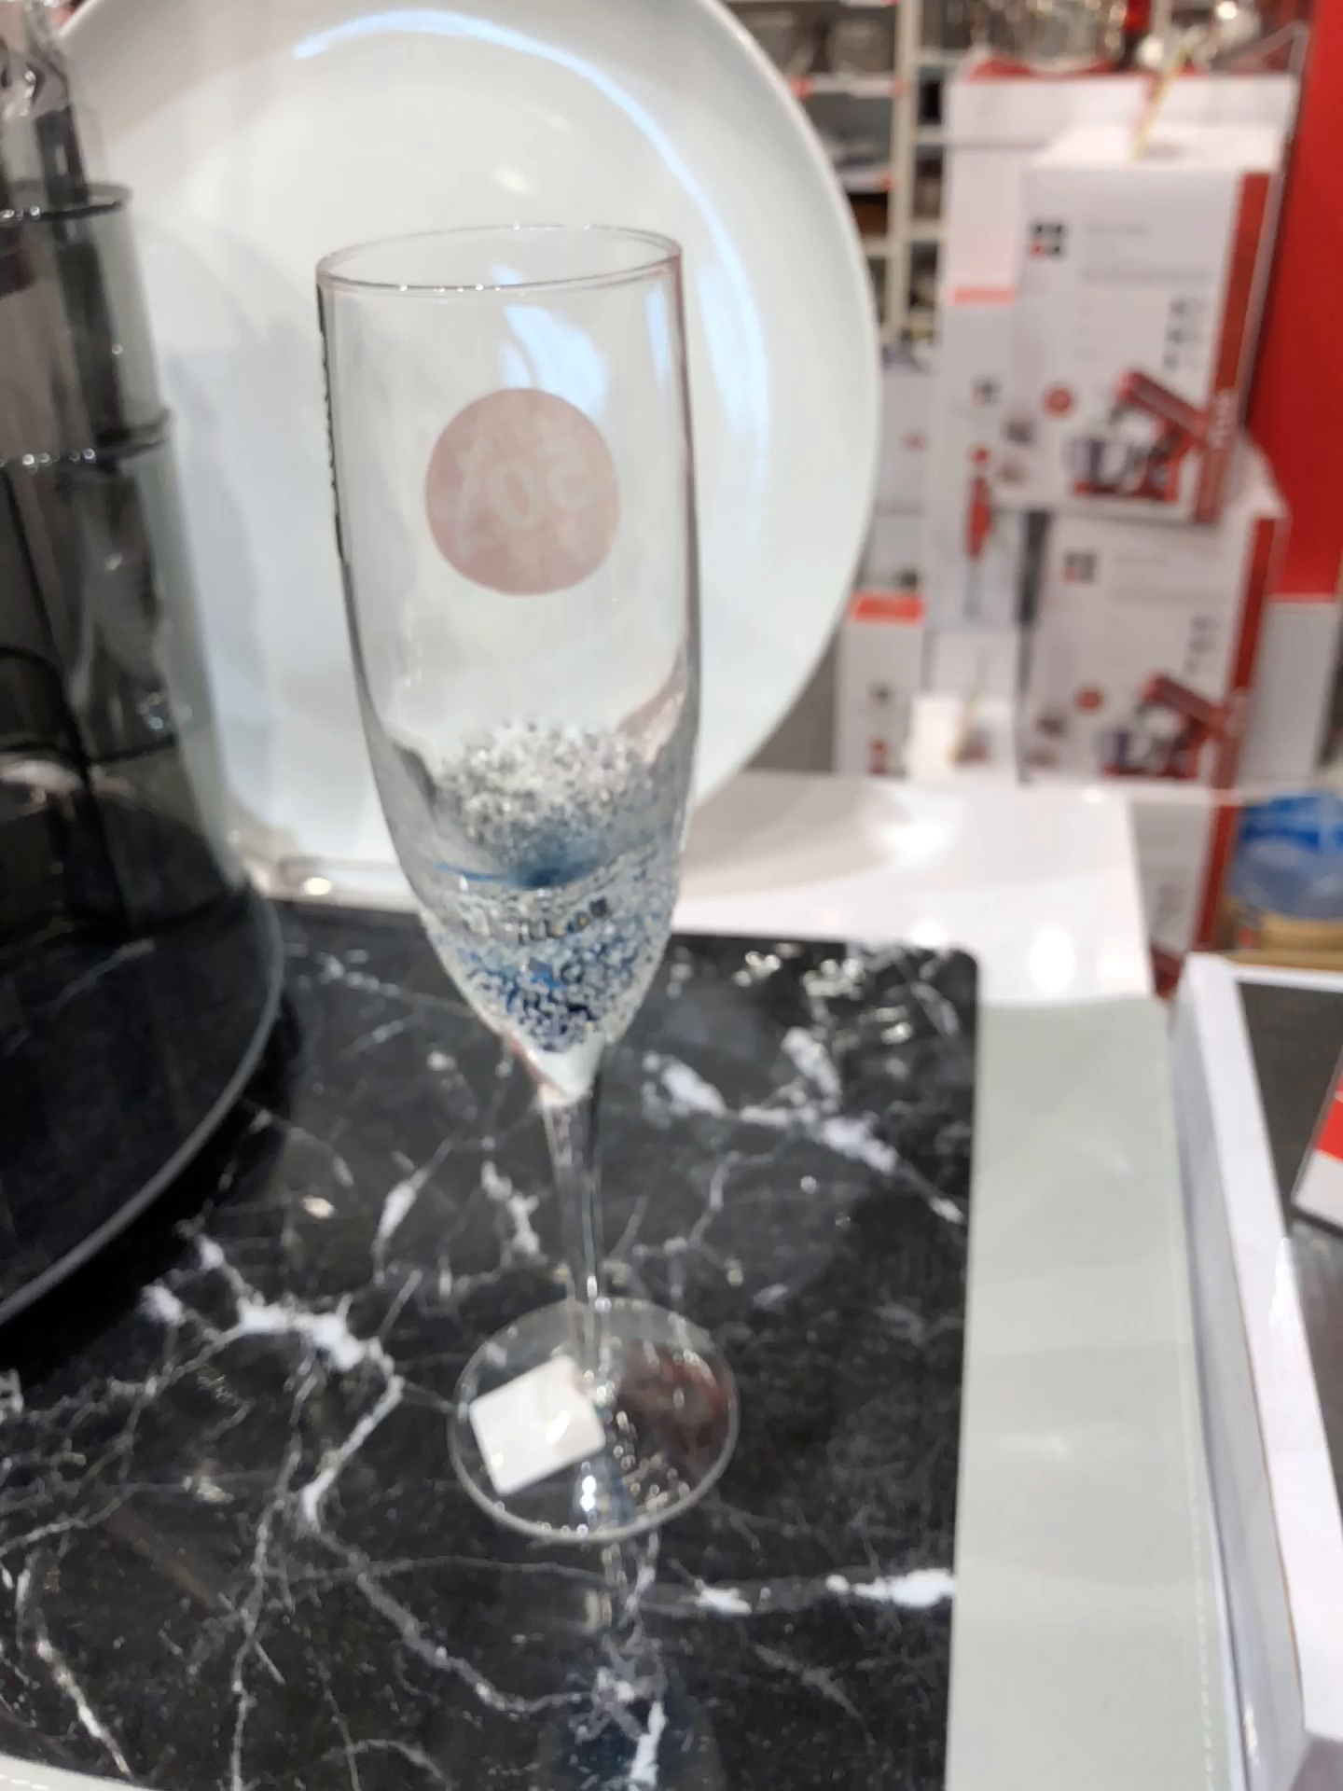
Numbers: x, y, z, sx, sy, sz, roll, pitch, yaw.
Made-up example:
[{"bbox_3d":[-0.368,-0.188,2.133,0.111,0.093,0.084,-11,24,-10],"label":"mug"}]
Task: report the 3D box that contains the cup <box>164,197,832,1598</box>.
[{"bbox_3d":[-0.018,0.011,0.284,0.070,0.249,0.070,-1,31,1],"label":"cup"}]
